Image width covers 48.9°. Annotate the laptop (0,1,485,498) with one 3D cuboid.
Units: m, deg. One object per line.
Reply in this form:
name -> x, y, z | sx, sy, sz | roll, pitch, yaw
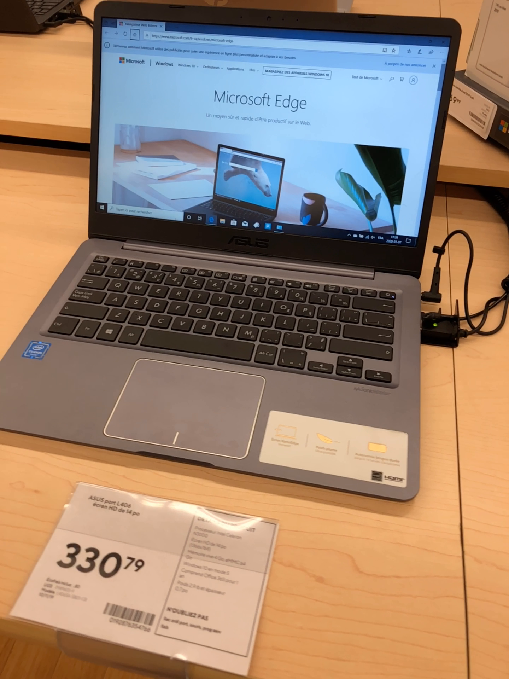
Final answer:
laptop -> -0.019, -0.099, 0.428 | 0.309, 0.173, 0.328 | 8, 49, 9
